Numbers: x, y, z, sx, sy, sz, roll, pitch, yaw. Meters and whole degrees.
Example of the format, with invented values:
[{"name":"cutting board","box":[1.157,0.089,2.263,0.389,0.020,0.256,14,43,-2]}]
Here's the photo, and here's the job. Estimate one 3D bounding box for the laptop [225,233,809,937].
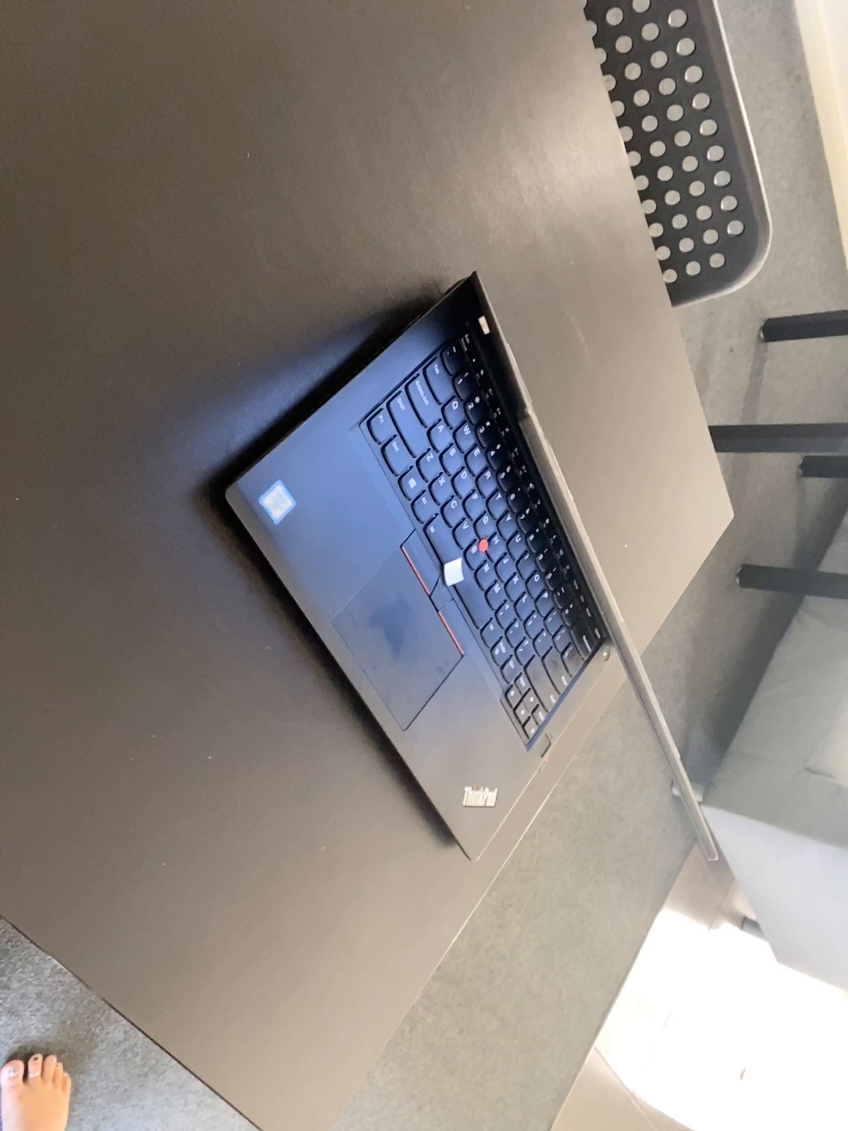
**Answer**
[{"name":"laptop","box":[0.080,0.016,0.496,0.216,0.138,0.300,-49,127,-28]}]
